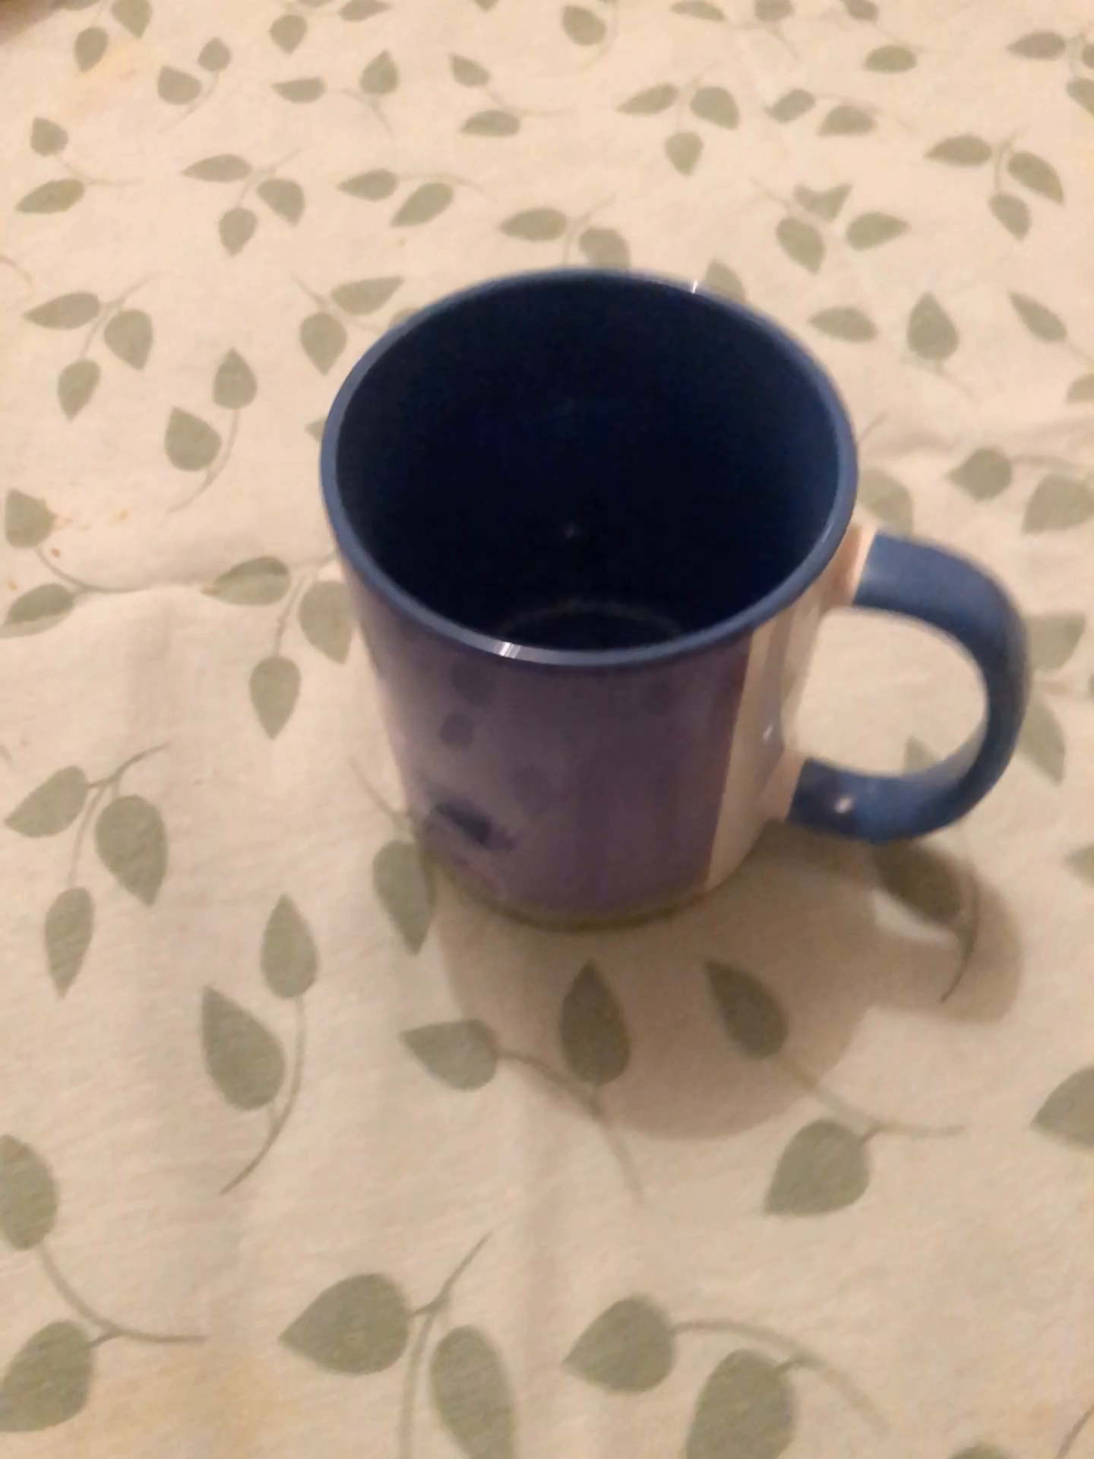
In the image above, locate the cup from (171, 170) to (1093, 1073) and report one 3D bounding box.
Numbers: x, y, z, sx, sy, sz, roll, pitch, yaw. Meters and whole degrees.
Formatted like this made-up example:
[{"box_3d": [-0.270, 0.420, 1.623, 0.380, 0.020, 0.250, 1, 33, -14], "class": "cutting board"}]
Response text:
[{"box_3d": [0.022, -0.016, 0.220, 0.120, 0.099, 0.090, 18, 60, 12], "class": "cup"}]
